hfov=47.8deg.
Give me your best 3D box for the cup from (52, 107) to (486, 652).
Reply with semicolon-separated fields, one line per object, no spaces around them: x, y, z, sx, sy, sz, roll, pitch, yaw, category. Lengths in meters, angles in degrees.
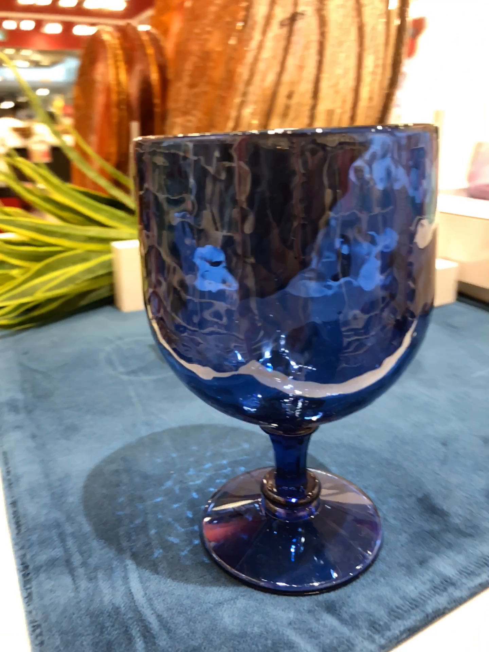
0.009;0.007;0.176;0.090;0.140;0.080;-19;26;-40;cup
